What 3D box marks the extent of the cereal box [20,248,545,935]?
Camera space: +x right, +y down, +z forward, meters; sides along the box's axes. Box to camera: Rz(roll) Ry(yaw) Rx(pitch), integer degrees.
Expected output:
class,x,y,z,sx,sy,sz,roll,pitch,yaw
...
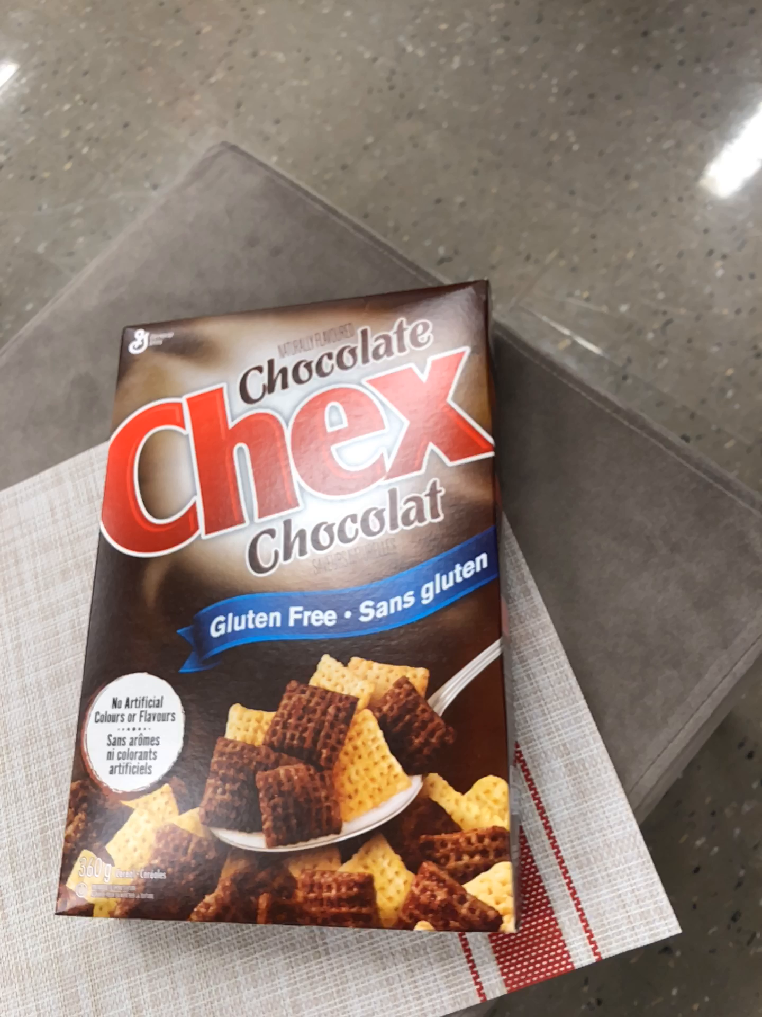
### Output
class,x,y,z,sx,sy,sz,roll,pitch,yaw
cereal box,-0.040,0.030,0.398,0.210,0.050,0.290,-4,70,13
